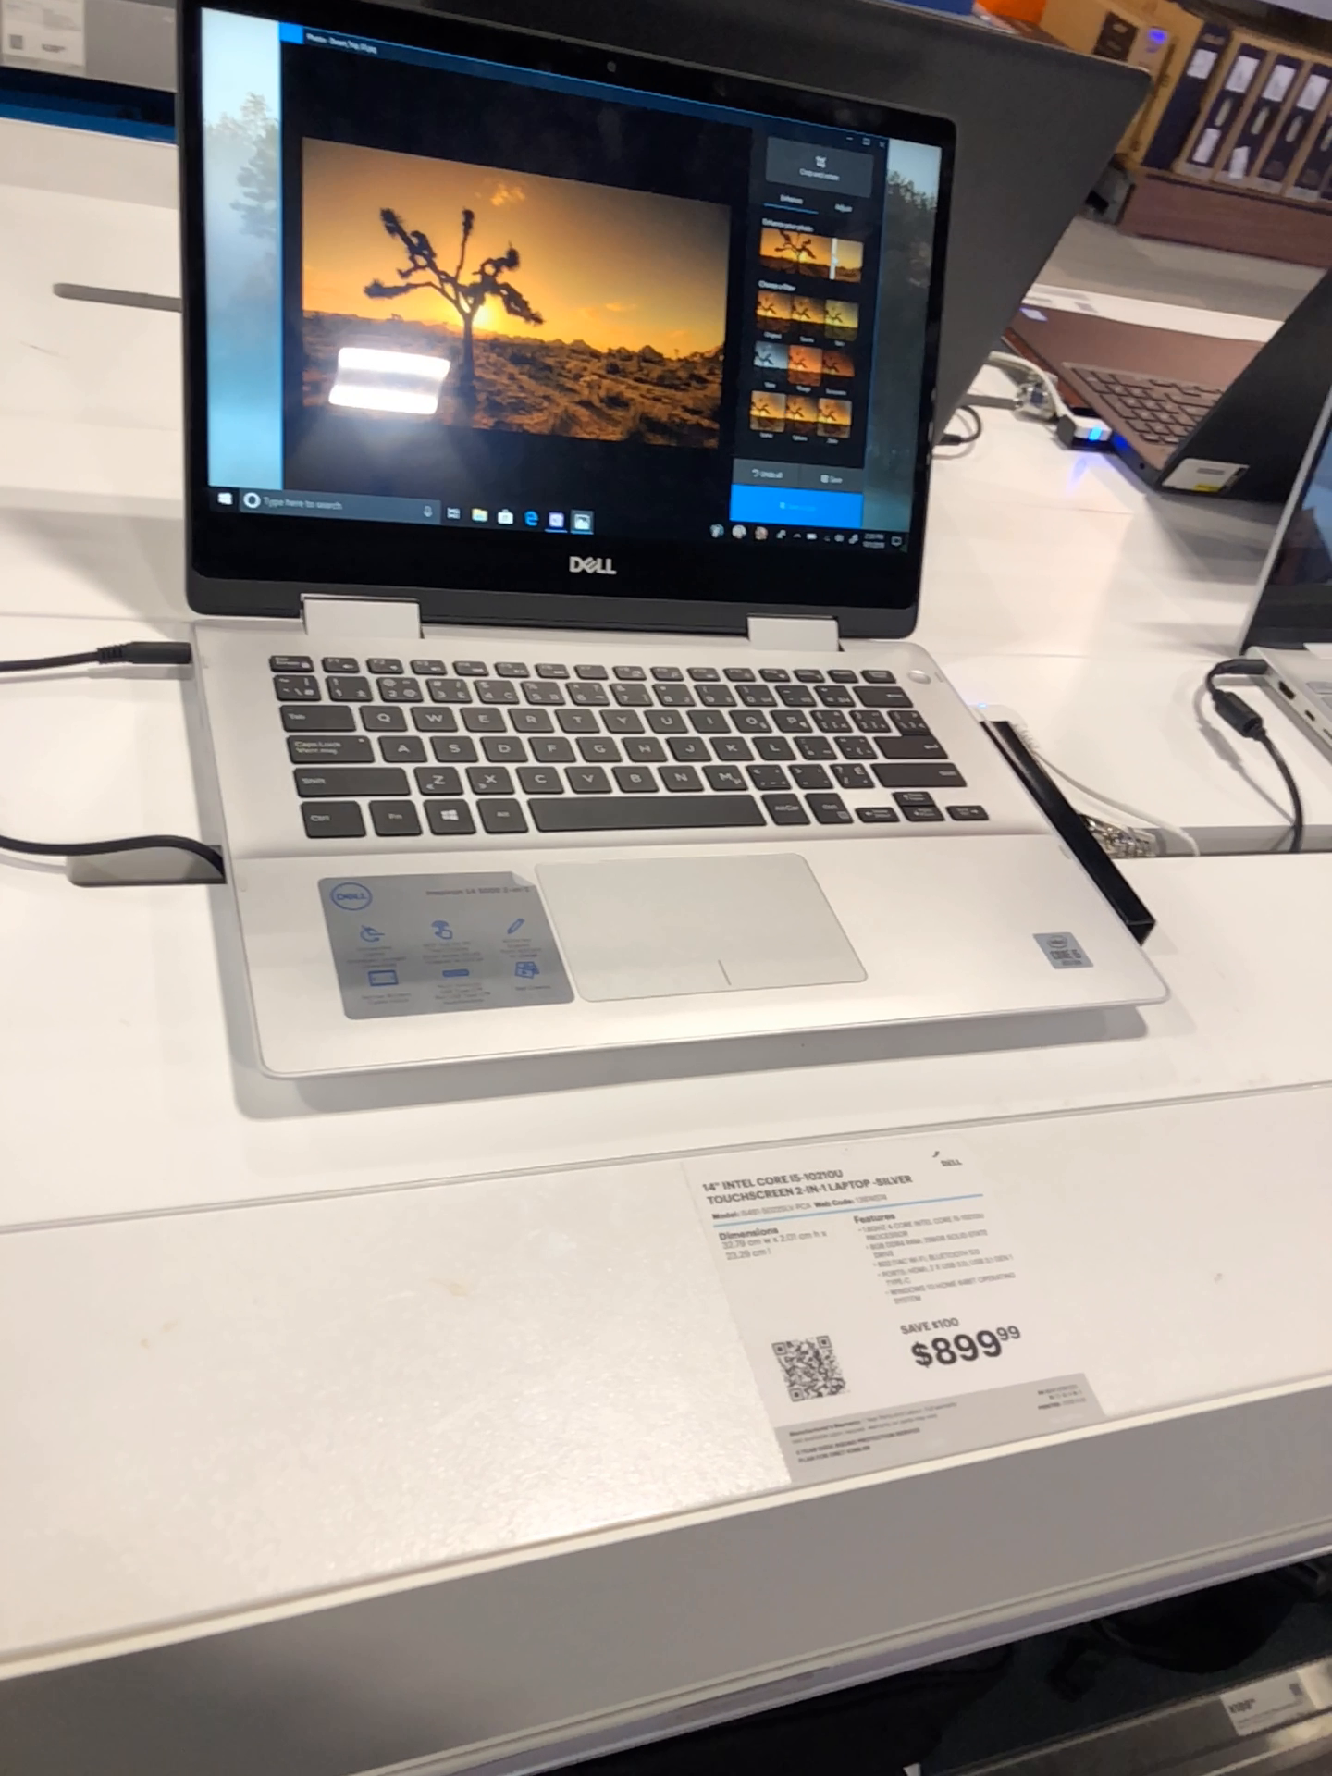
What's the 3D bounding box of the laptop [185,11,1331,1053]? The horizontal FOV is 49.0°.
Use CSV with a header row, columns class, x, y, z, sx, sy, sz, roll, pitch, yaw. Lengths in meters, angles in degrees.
class,x,y,z,sx,sy,sz,roll,pitch,yaw
laptop,0.010,-0.136,0.518,0.311,0.195,0.328,-2,42,-21
